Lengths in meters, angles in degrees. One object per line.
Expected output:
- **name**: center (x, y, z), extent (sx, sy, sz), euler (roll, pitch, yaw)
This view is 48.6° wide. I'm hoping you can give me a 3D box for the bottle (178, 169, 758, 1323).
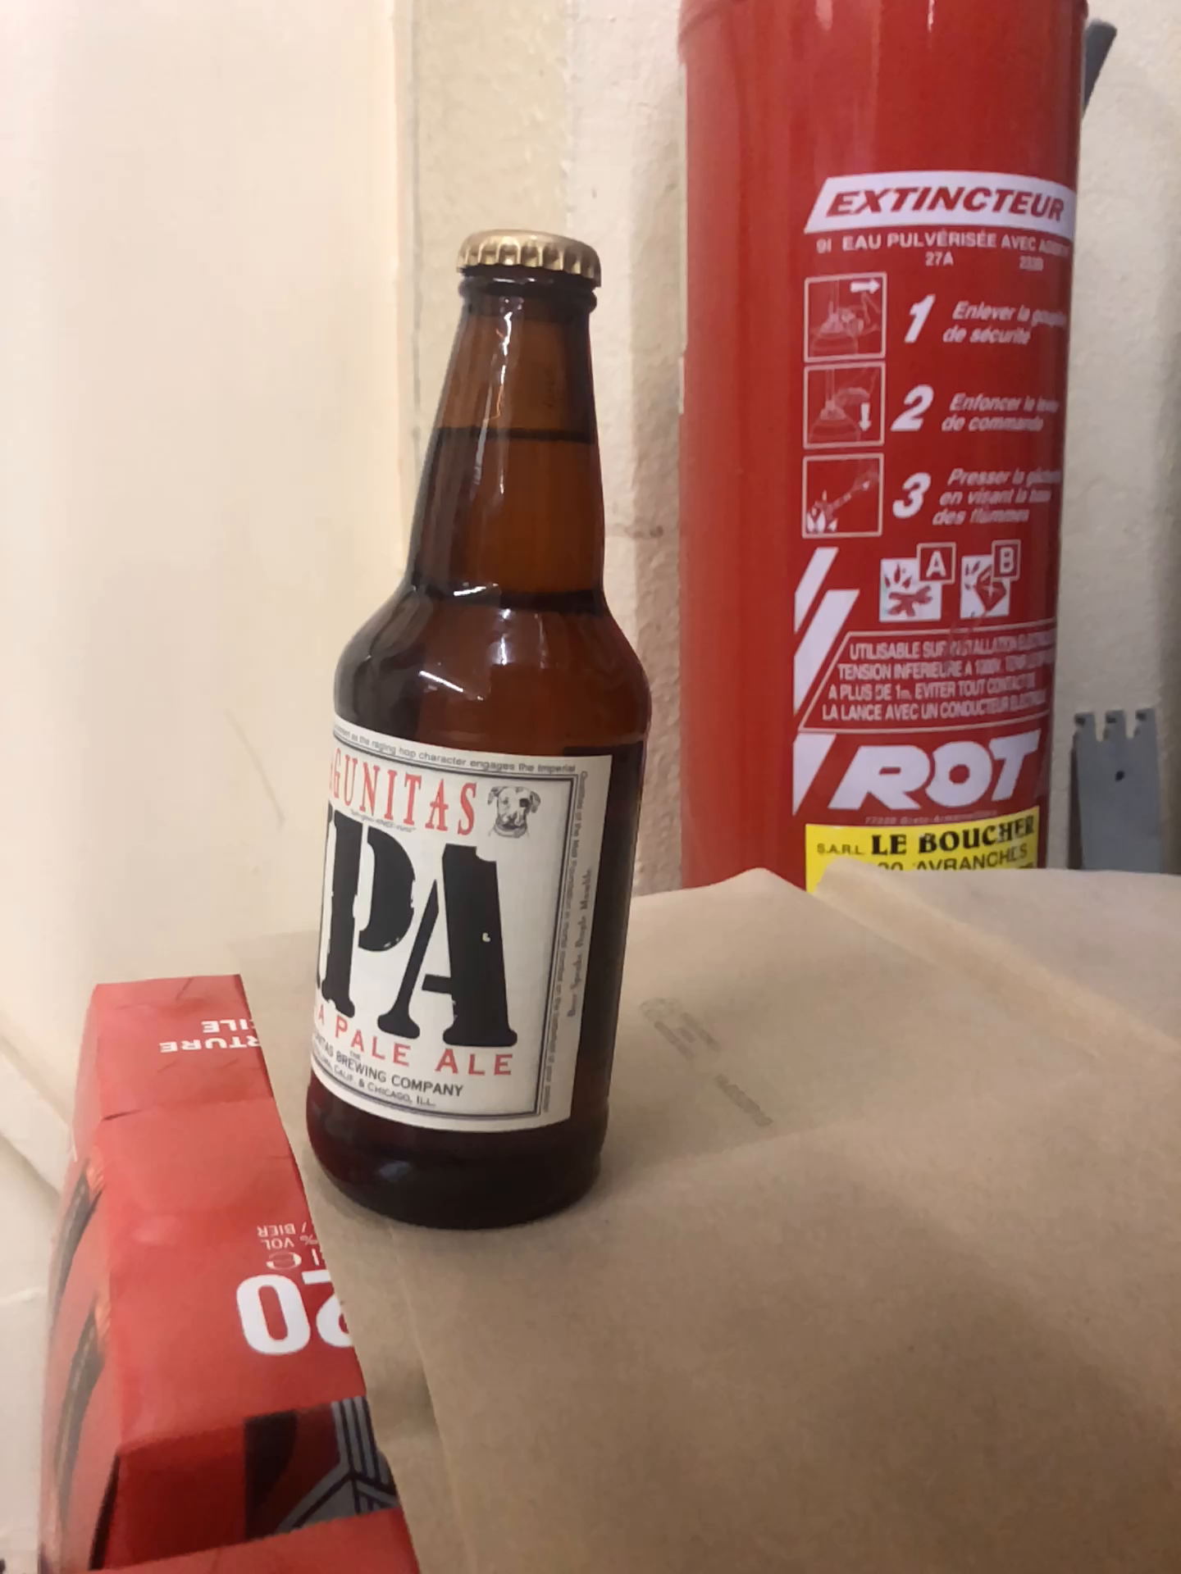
- **bottle**: center (-0.027, -0.011, 0.277), extent (0.080, 0.199, 0.080), euler (2, 12, 0)
